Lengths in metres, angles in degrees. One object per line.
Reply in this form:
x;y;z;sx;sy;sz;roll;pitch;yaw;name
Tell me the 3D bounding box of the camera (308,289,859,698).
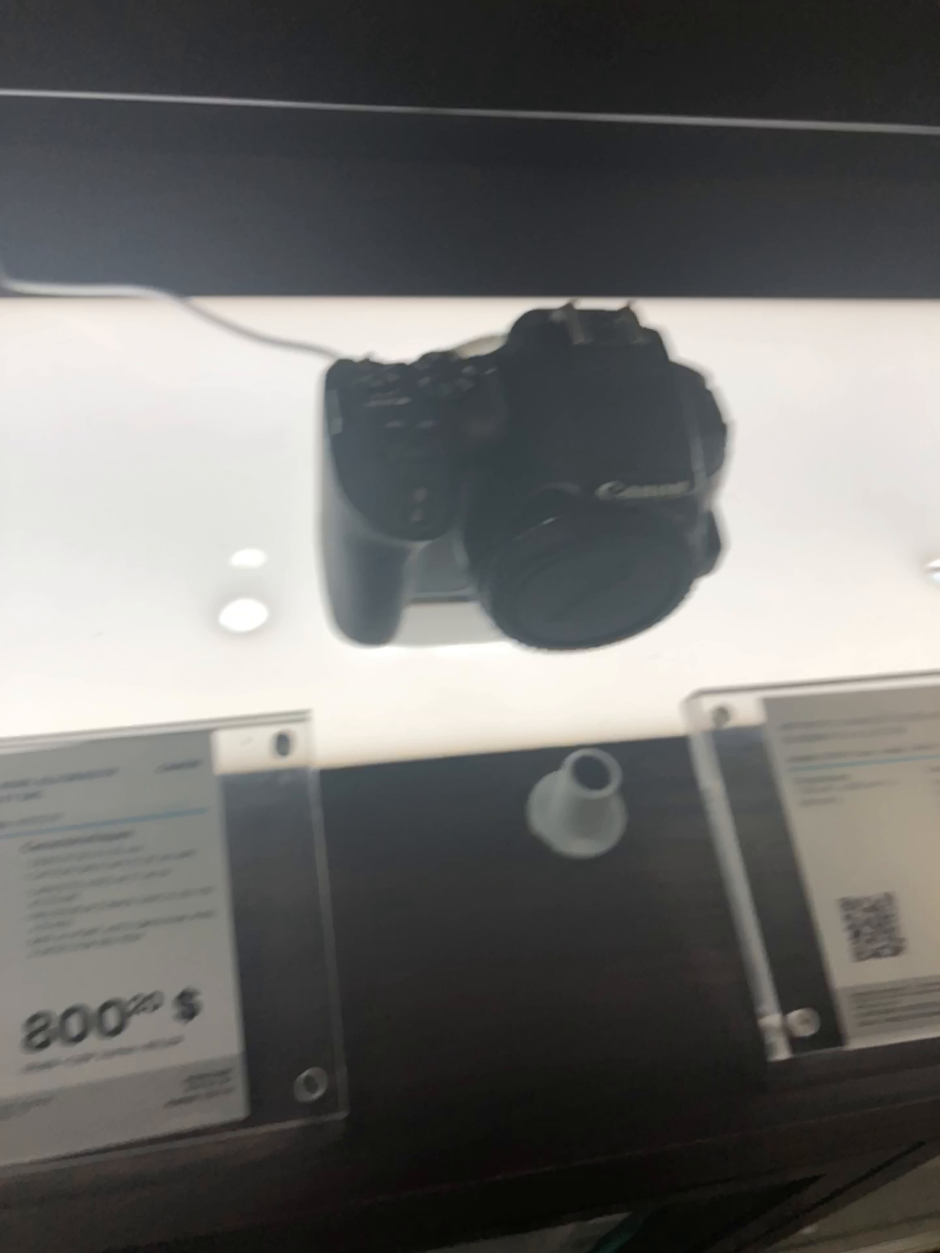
0.021;-0.038;0.290;0.123;0.071;0.081;-4;51;-13;camera
